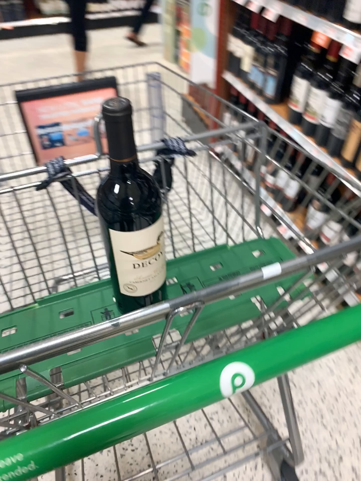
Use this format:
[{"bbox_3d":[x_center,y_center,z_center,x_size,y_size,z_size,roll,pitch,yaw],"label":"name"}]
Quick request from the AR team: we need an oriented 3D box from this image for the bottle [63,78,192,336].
[{"bbox_3d":[-0.049,-0.022,0.456,0.090,0.297,0.091,-1,43,1],"label":"bottle"}]
